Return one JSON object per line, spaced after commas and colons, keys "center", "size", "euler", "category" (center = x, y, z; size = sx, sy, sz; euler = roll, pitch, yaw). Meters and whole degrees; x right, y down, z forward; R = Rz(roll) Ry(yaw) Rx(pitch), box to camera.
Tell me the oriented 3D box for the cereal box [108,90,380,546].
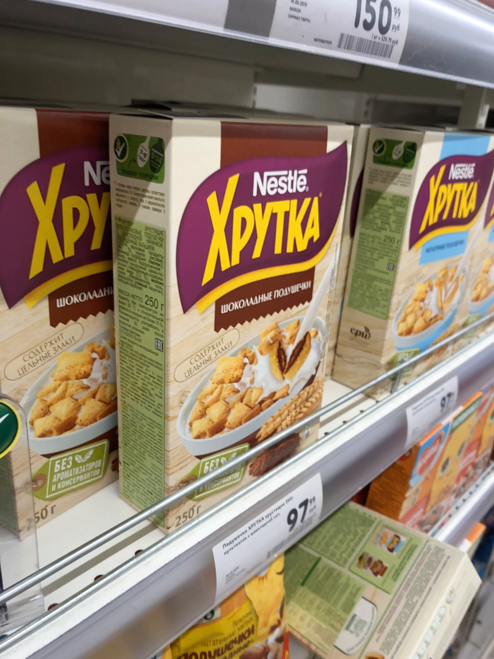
{"center": [0.004, -0.014, 0.319], "size": [0.040, 0.219, 0.161], "euler": [20, 26, 39], "category": "cereal box"}
